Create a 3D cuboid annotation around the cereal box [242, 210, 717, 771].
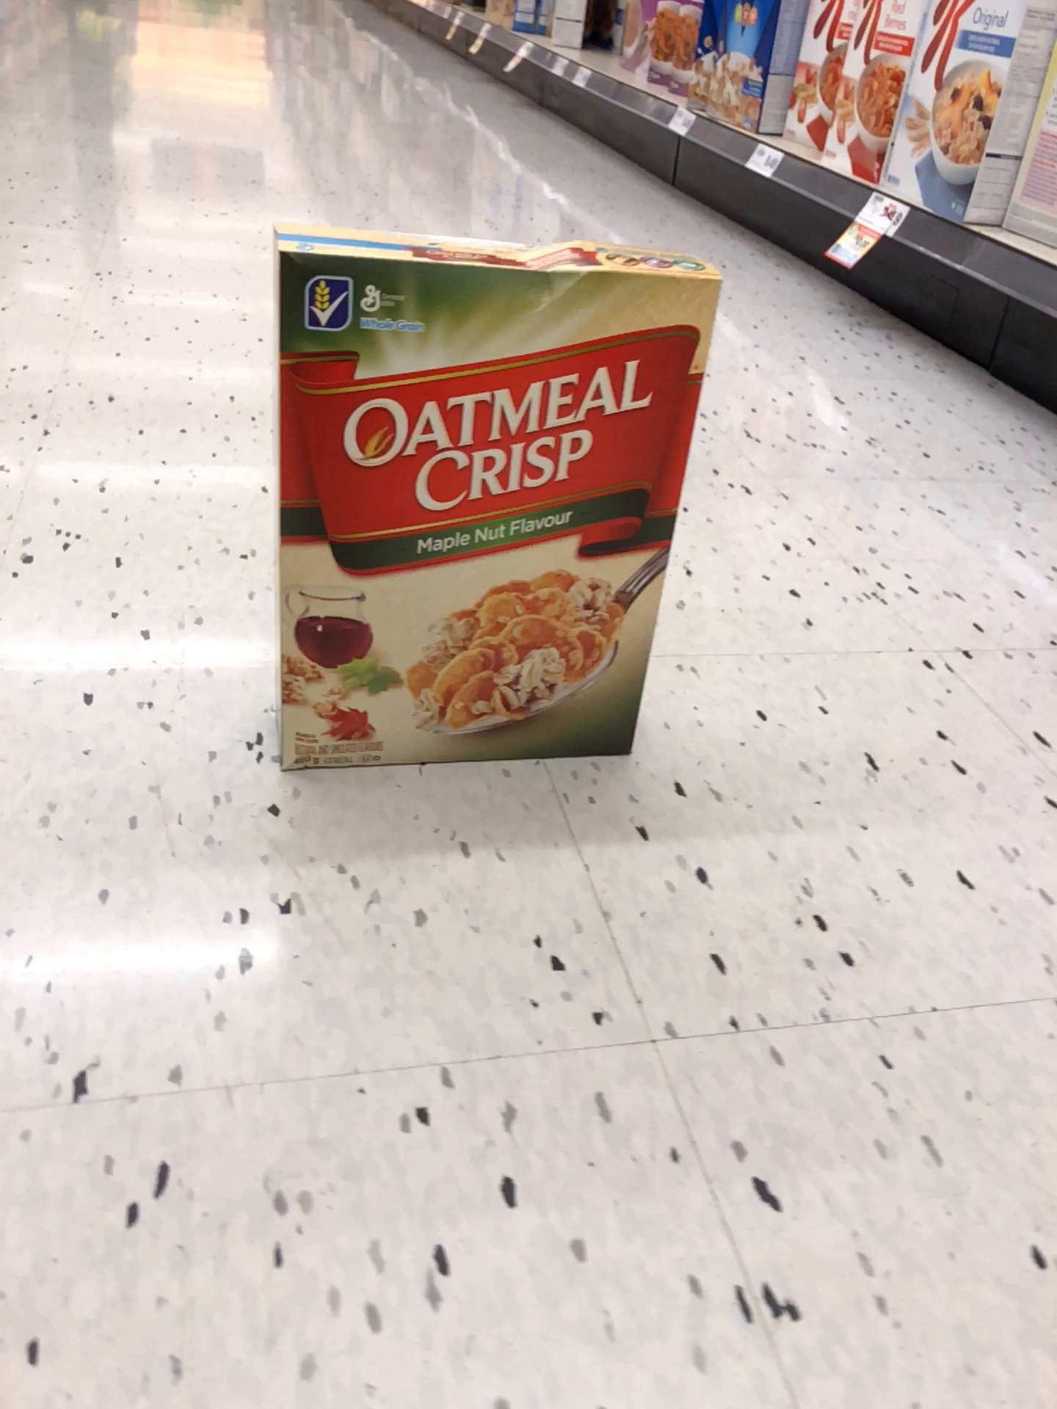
[{"bbox_3d":[-0.035,-0.092,0.570,0.200,0.258,0.050,-2,33,-16],"label":"cereal box"}]
